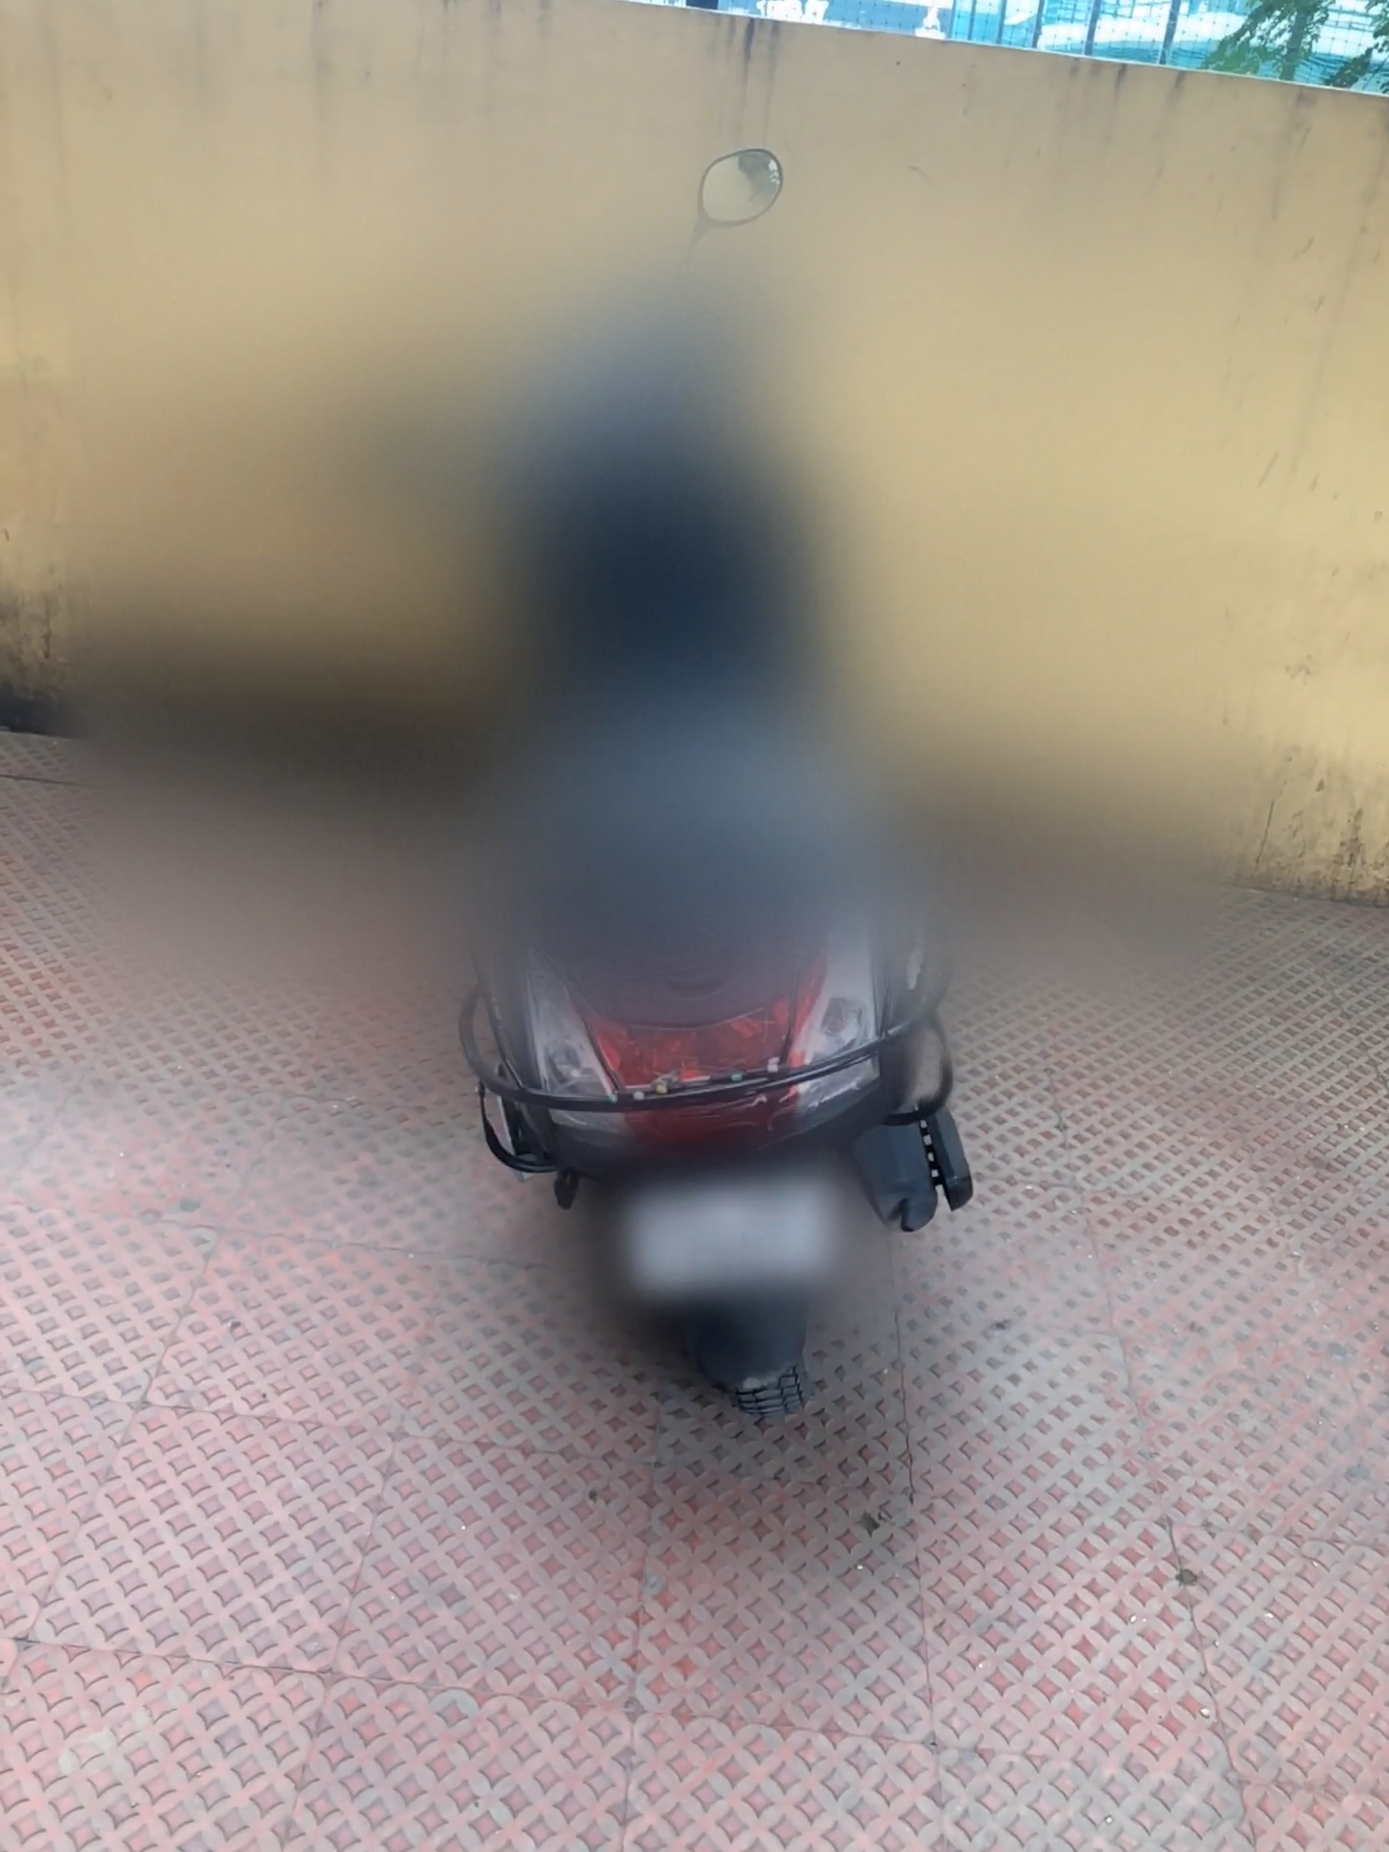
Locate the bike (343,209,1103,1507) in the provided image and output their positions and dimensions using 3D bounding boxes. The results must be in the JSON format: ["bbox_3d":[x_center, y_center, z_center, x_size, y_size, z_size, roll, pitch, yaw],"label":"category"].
[{"bbox_3d":[-0.043,-0.231,2.060,0.578,1.139,1.490,5,30,-4],"label":"bike"}]
